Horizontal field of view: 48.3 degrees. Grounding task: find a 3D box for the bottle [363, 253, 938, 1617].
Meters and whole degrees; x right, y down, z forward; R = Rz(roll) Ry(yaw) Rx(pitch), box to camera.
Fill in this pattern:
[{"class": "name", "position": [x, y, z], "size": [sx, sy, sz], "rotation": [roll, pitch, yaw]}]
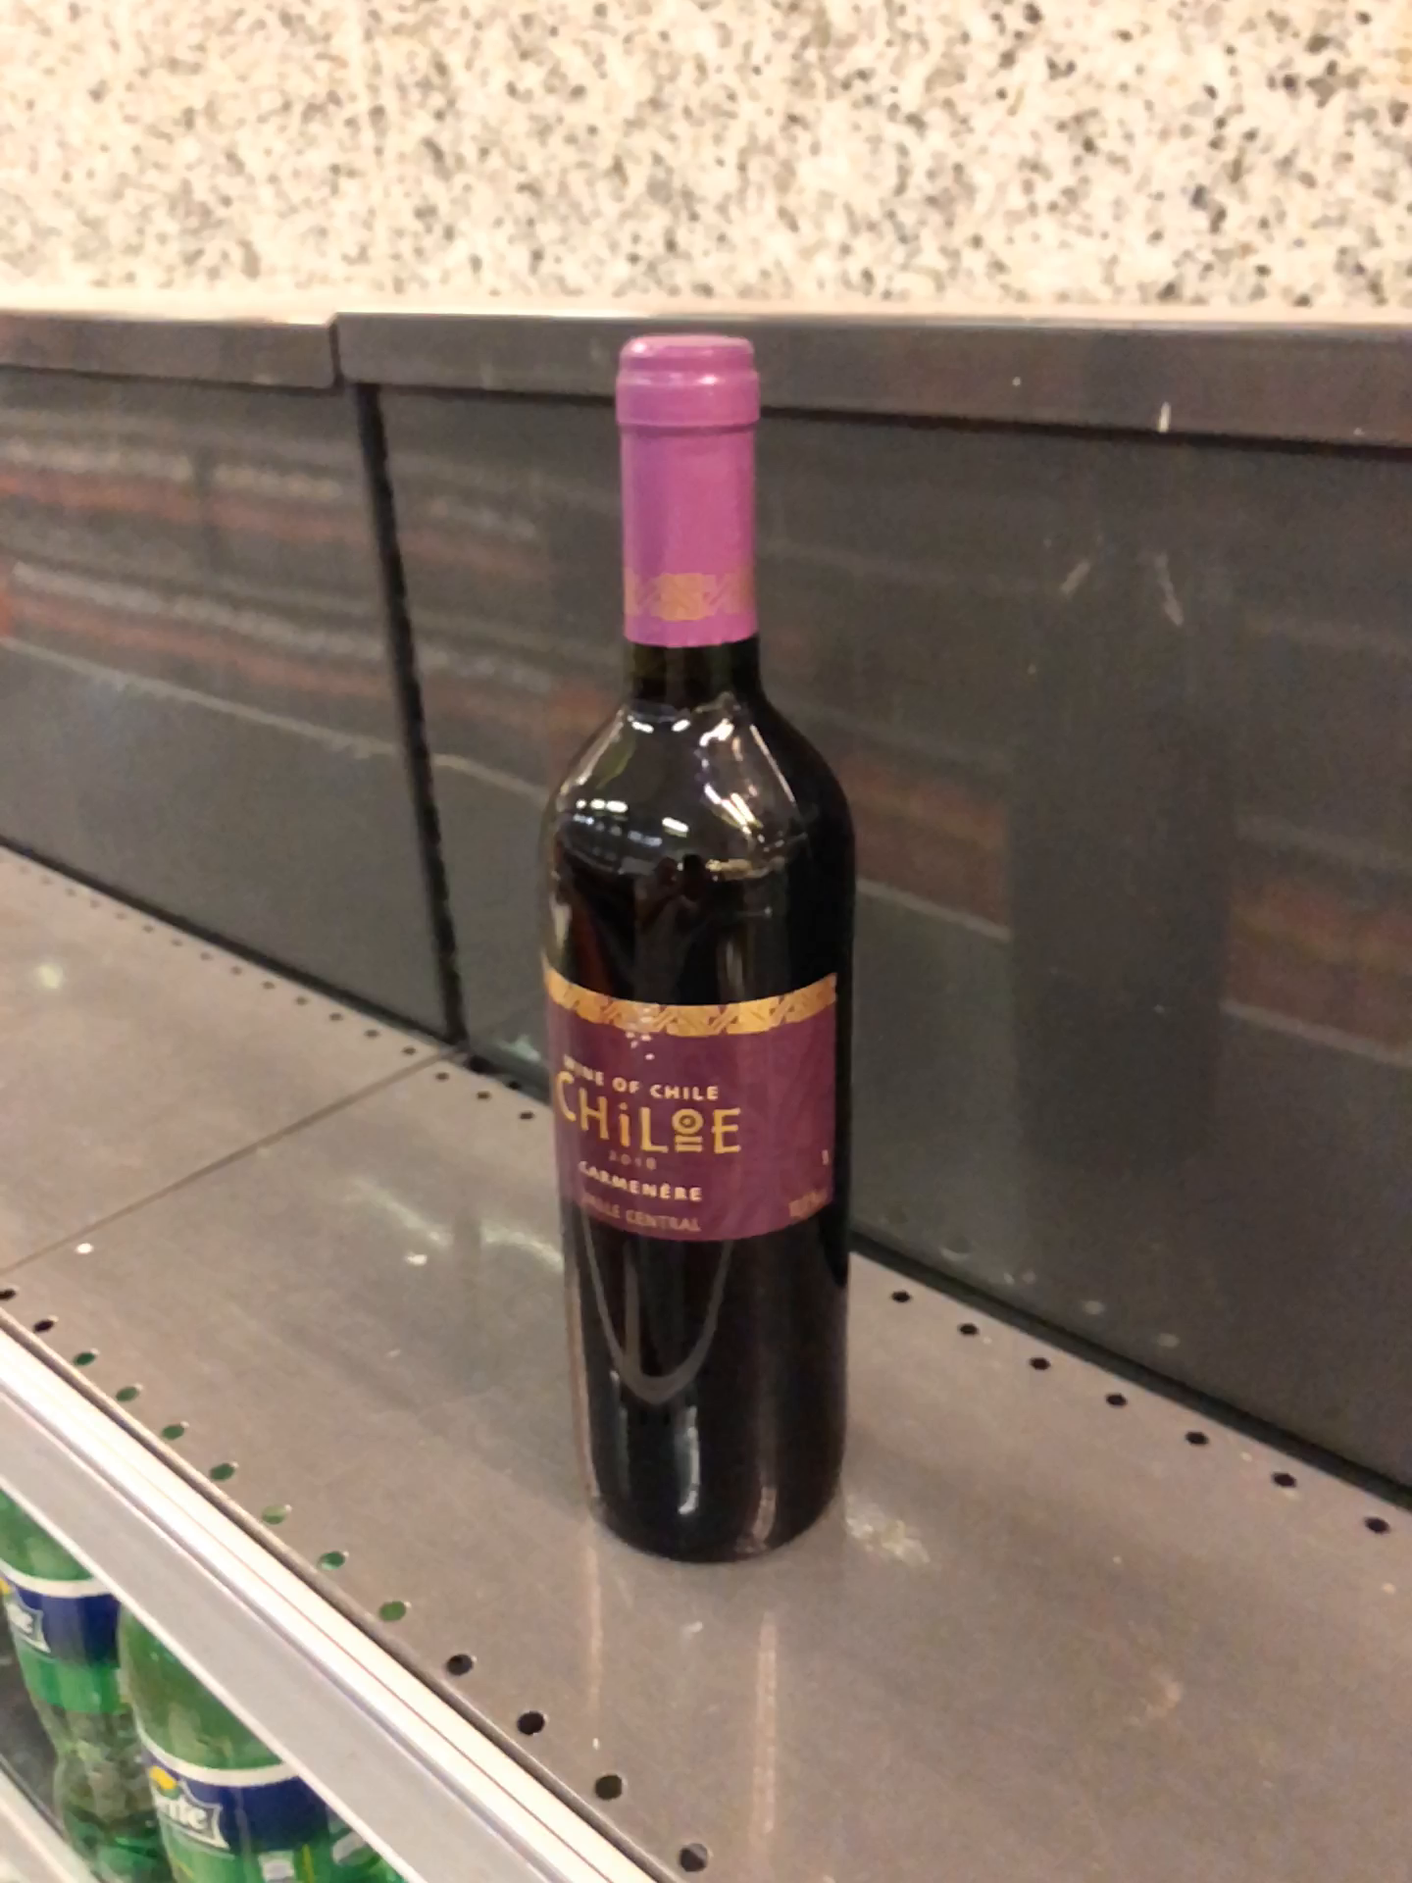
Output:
[{"class": "bottle", "position": [-0.001, 0.007, 0.388], "size": [0.090, 0.317, 0.081], "rotation": [10, 28, 25]}]
